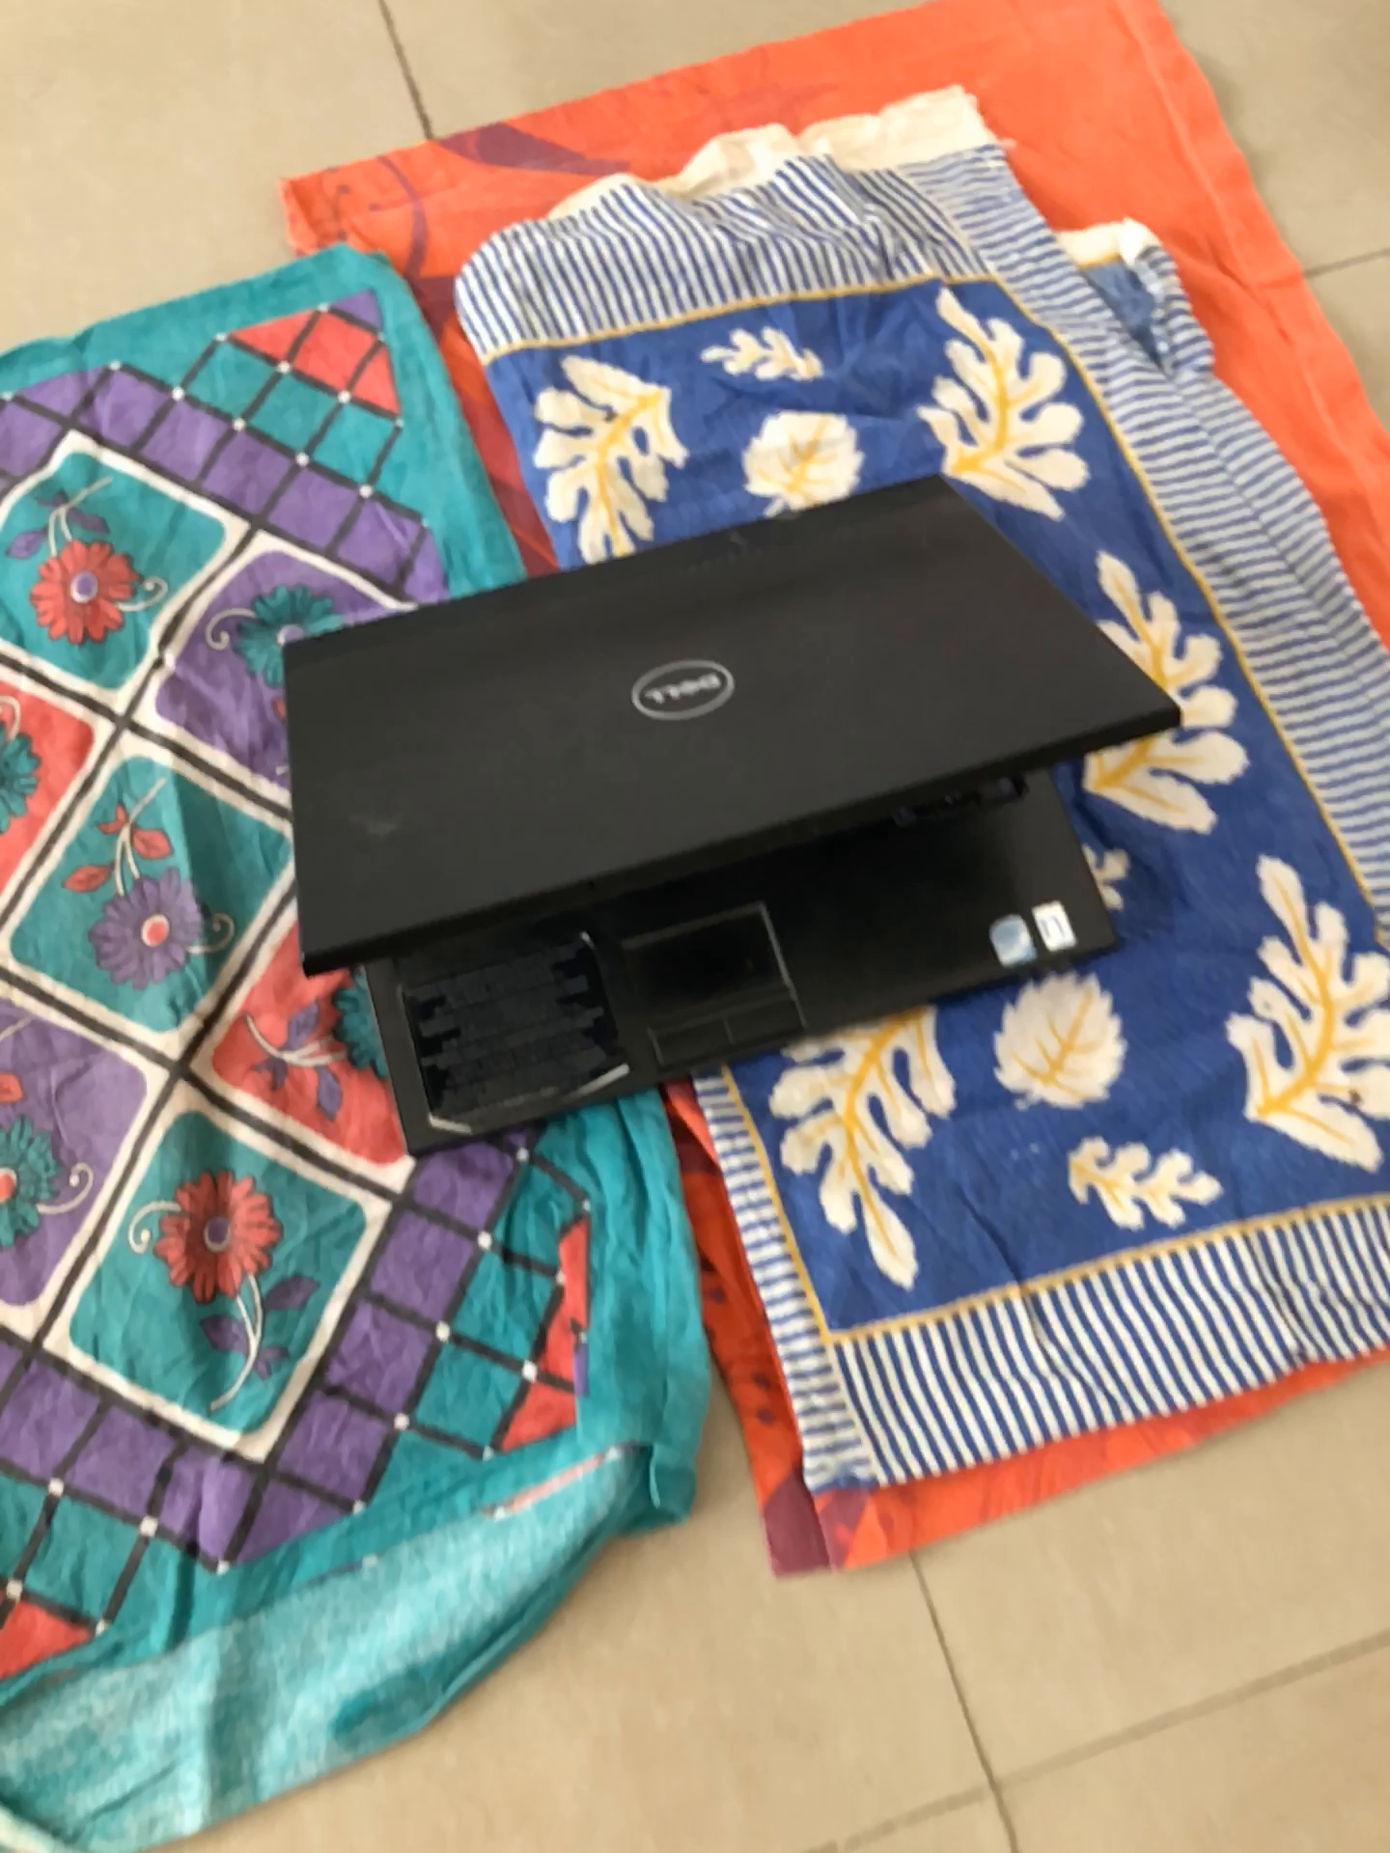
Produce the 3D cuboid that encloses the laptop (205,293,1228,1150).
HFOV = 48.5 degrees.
[{"bbox_3d":[-0.001,-0.077,0.606,0.299,0.144,0.235,-16,70,-5],"label":"laptop"}]
